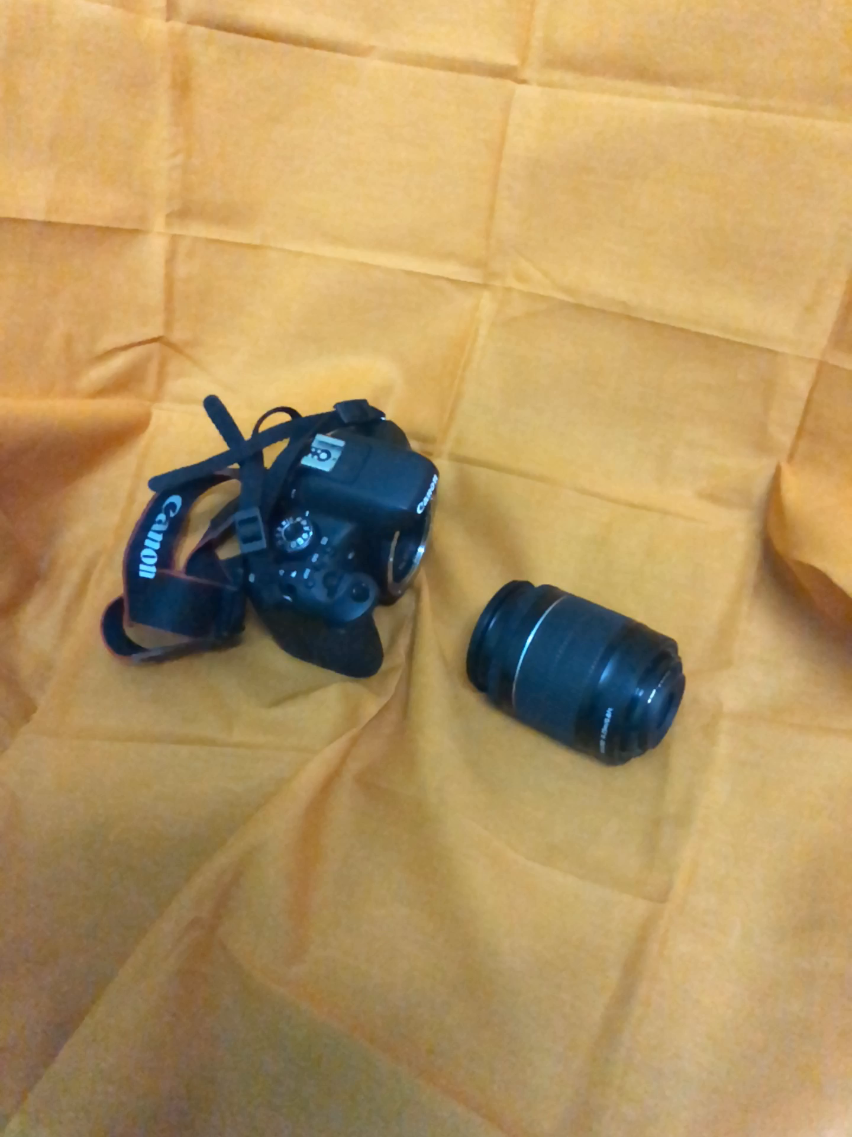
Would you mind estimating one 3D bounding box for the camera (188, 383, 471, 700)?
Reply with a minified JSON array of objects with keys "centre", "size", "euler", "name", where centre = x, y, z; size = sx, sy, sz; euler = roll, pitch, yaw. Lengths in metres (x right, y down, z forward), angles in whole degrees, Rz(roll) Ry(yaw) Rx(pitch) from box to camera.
[{"centre":[-0.044,-0.017,0.502],"size":[0.092,0.071,0.134],"euler":[17,60,16],"name":"camera"}]
